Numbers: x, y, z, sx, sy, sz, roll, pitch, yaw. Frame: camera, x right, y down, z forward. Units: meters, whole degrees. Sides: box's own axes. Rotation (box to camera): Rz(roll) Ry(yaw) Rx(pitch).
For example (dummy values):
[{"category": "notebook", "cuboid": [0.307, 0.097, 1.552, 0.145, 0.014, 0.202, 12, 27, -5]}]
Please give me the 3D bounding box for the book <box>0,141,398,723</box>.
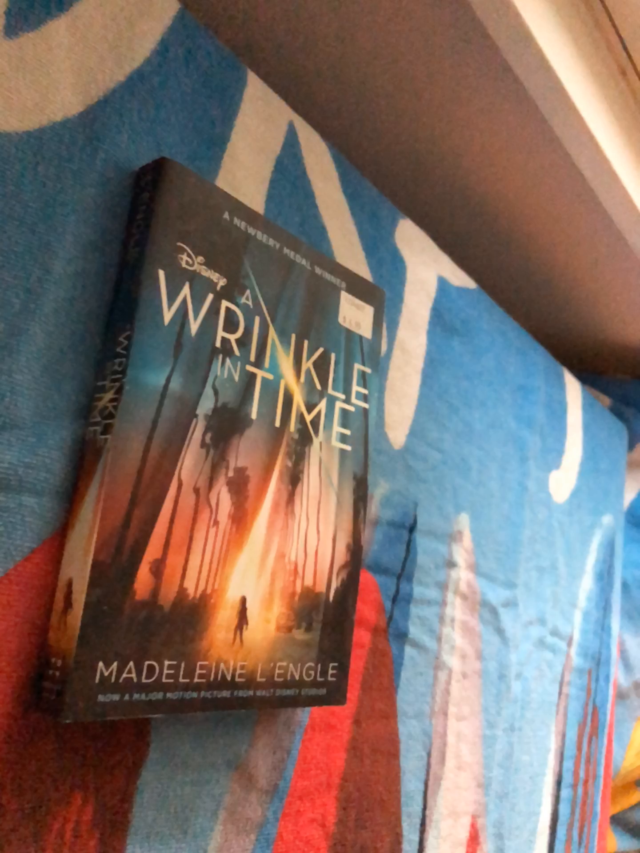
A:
[{"category": "book", "cuboid": [-0.035, 0.012, 0.288, 0.138, 0.031, 0.195, 21, 73, -44]}]
